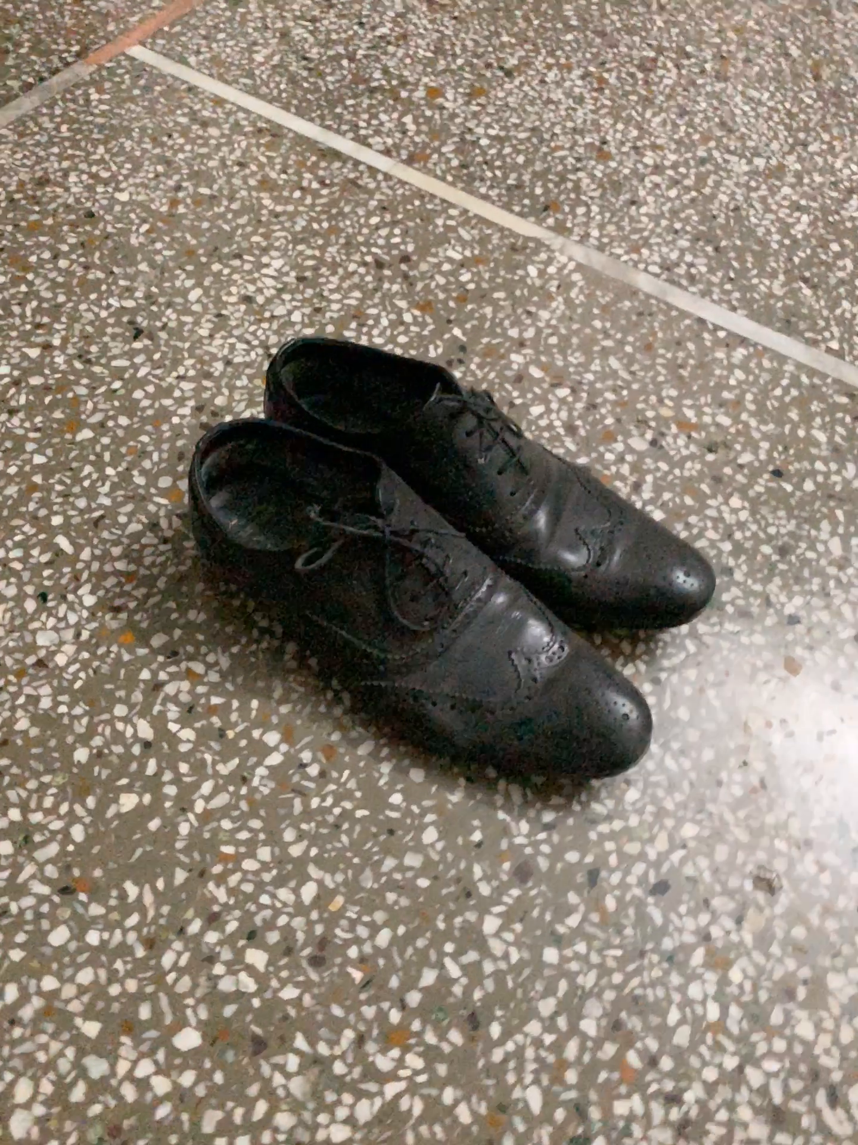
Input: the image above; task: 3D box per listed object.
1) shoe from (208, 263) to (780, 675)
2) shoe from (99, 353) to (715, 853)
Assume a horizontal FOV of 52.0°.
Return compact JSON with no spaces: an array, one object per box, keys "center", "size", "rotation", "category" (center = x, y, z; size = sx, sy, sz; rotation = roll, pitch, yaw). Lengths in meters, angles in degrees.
[{"center":[0.033,-0.066,0.551],"size":[0.320,0.100,0.100],"rotation":[25,61,9],"category":"shoe"},{"center":[-0.020,0.013,0.500],"size":[0.320,0.100,0.100],"rotation":[32,62,13],"category":"shoe"}]
